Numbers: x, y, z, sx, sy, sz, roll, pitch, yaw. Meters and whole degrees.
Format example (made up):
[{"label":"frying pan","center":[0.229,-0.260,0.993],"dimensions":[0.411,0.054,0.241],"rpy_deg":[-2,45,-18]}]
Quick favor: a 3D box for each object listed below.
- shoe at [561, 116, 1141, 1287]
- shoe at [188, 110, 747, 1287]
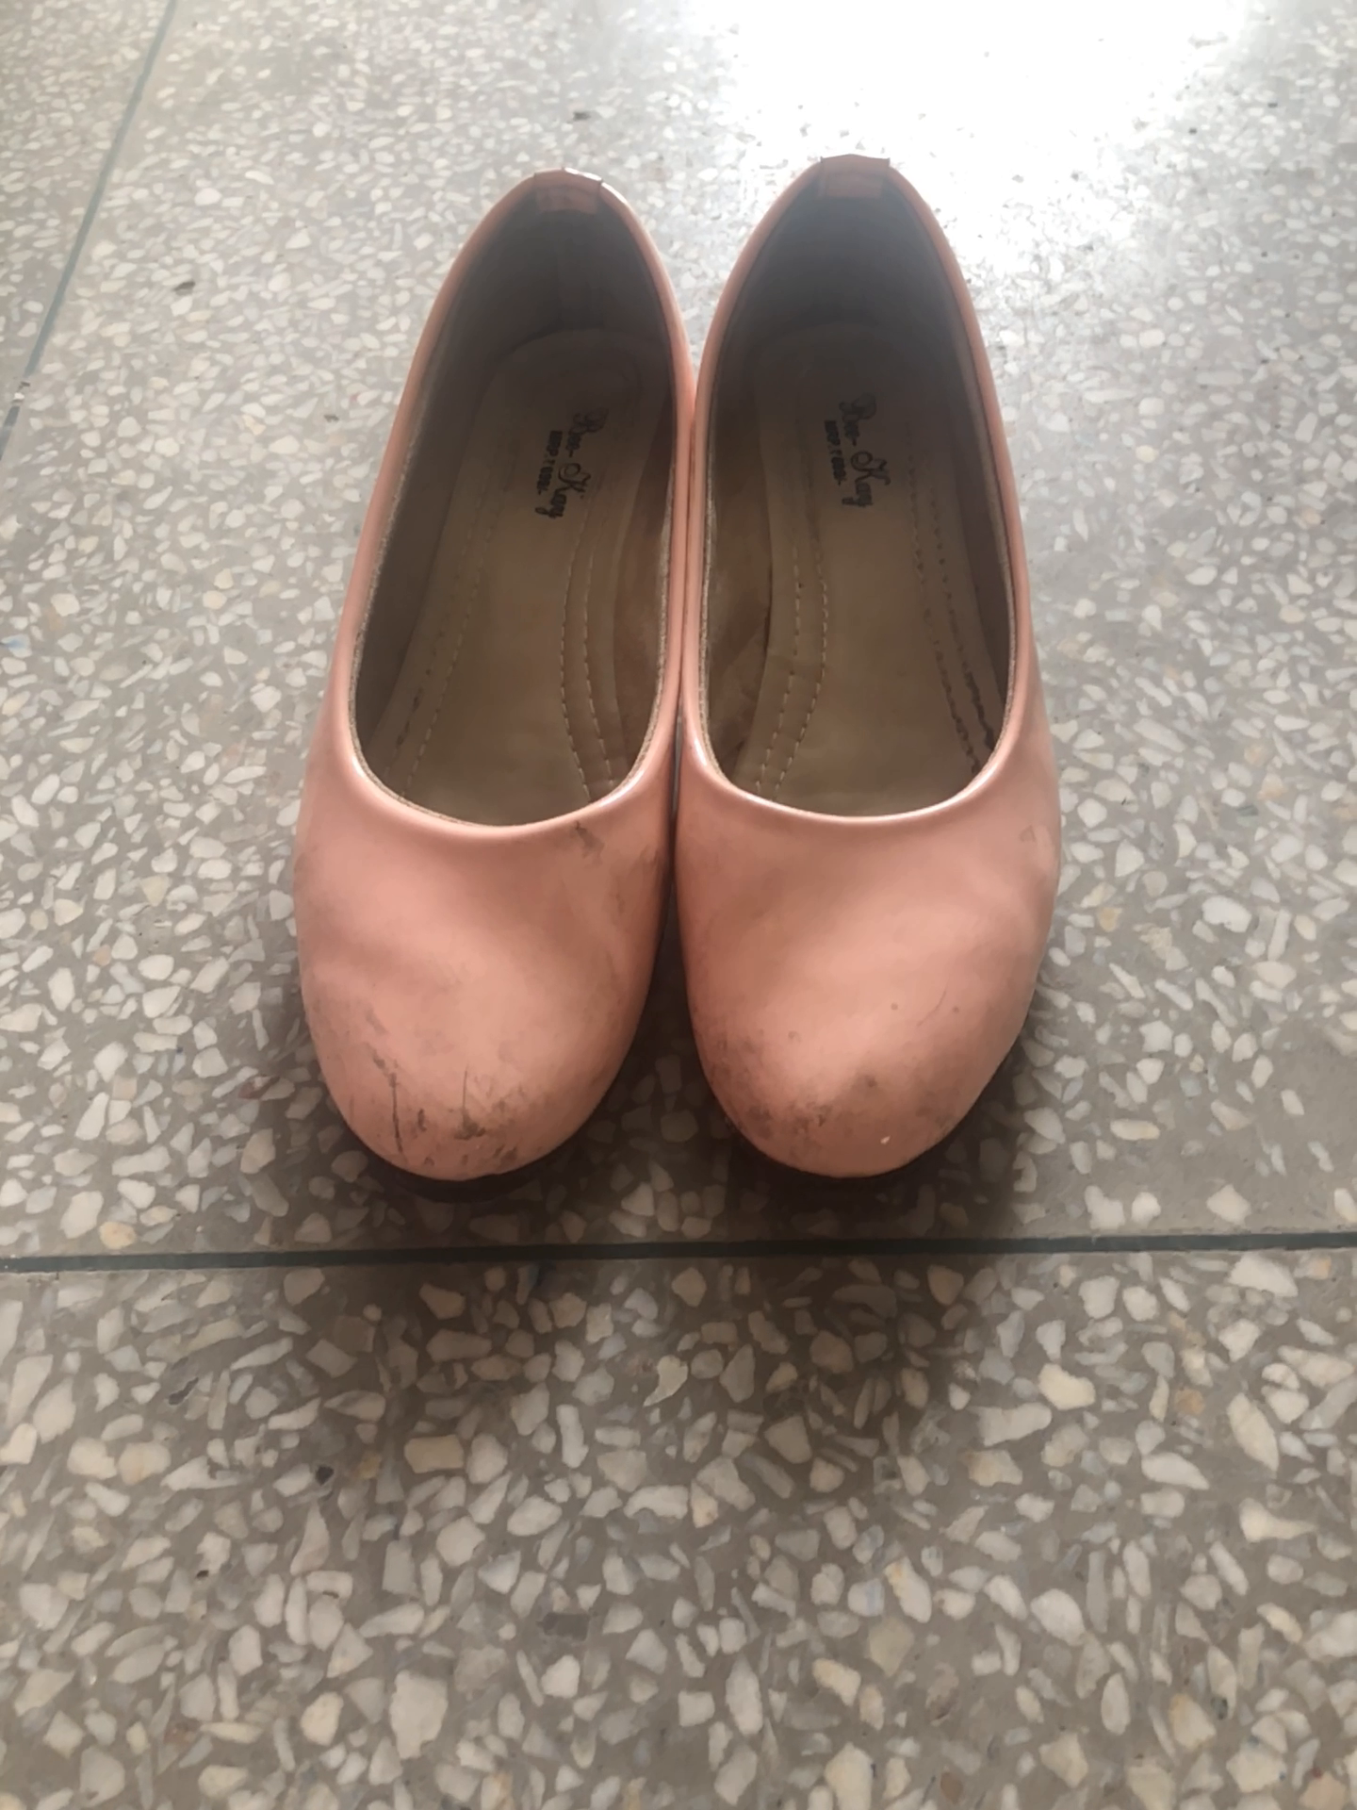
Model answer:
[{"label":"shoe","center":[0.034,-0.057,0.329],"dimensions":[0.090,0.070,0.260],"rpy_deg":[1,61,4]},{"label":"shoe","center":[-0.033,-0.053,0.341],"dimensions":[0.090,0.070,0.260],"rpy_deg":[1,68,4]}]
